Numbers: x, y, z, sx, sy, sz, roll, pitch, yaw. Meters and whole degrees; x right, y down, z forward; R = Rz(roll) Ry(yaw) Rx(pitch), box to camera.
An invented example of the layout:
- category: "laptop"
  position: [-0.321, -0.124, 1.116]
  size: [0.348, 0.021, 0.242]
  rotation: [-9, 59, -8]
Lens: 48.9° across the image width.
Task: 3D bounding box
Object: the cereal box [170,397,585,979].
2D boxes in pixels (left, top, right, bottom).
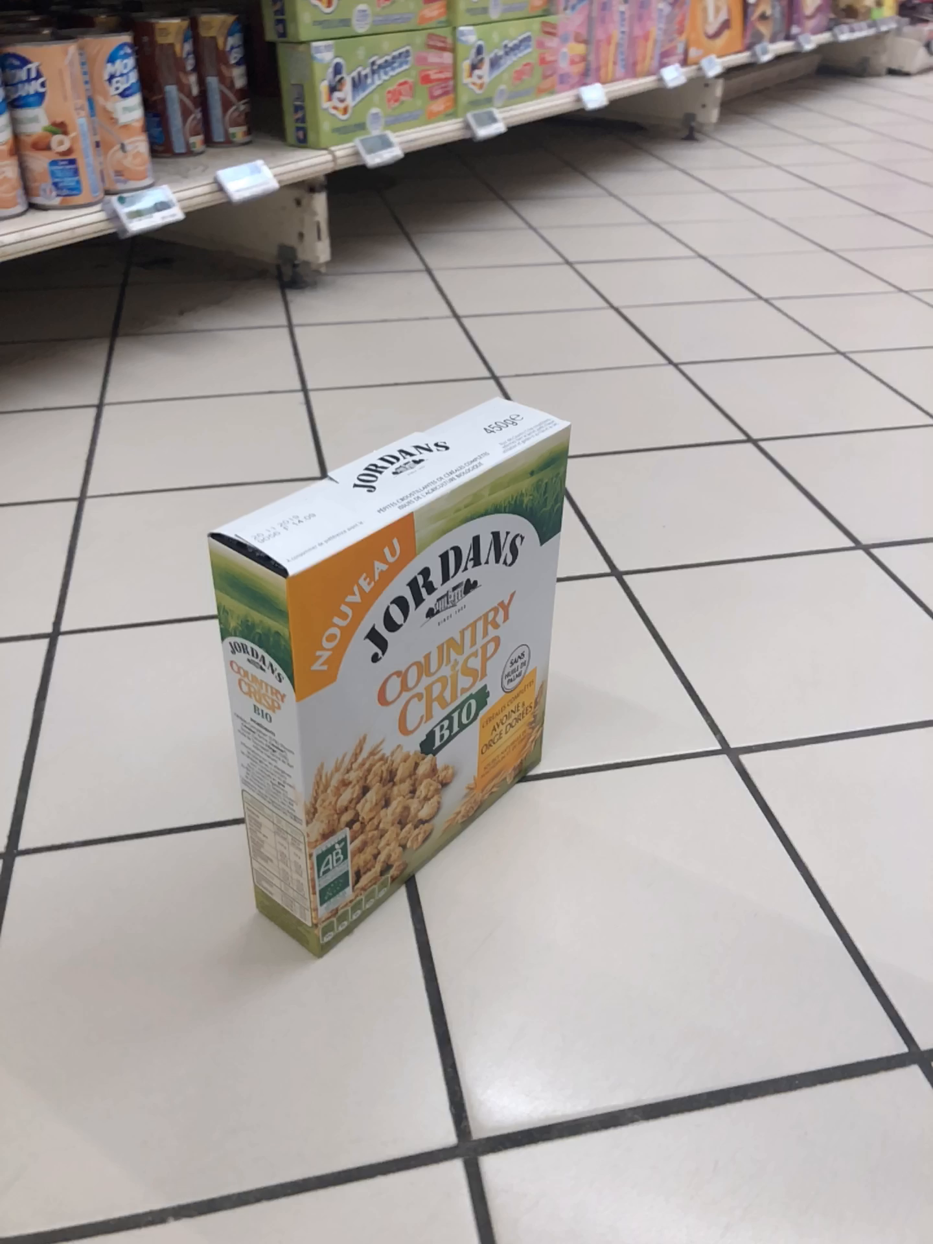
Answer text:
- category: "cereal box"
  position: [-0.030, 0.026, 0.492]
  size: [0.060, 0.209, 0.191]
  rotation: [25, 41, 32]
